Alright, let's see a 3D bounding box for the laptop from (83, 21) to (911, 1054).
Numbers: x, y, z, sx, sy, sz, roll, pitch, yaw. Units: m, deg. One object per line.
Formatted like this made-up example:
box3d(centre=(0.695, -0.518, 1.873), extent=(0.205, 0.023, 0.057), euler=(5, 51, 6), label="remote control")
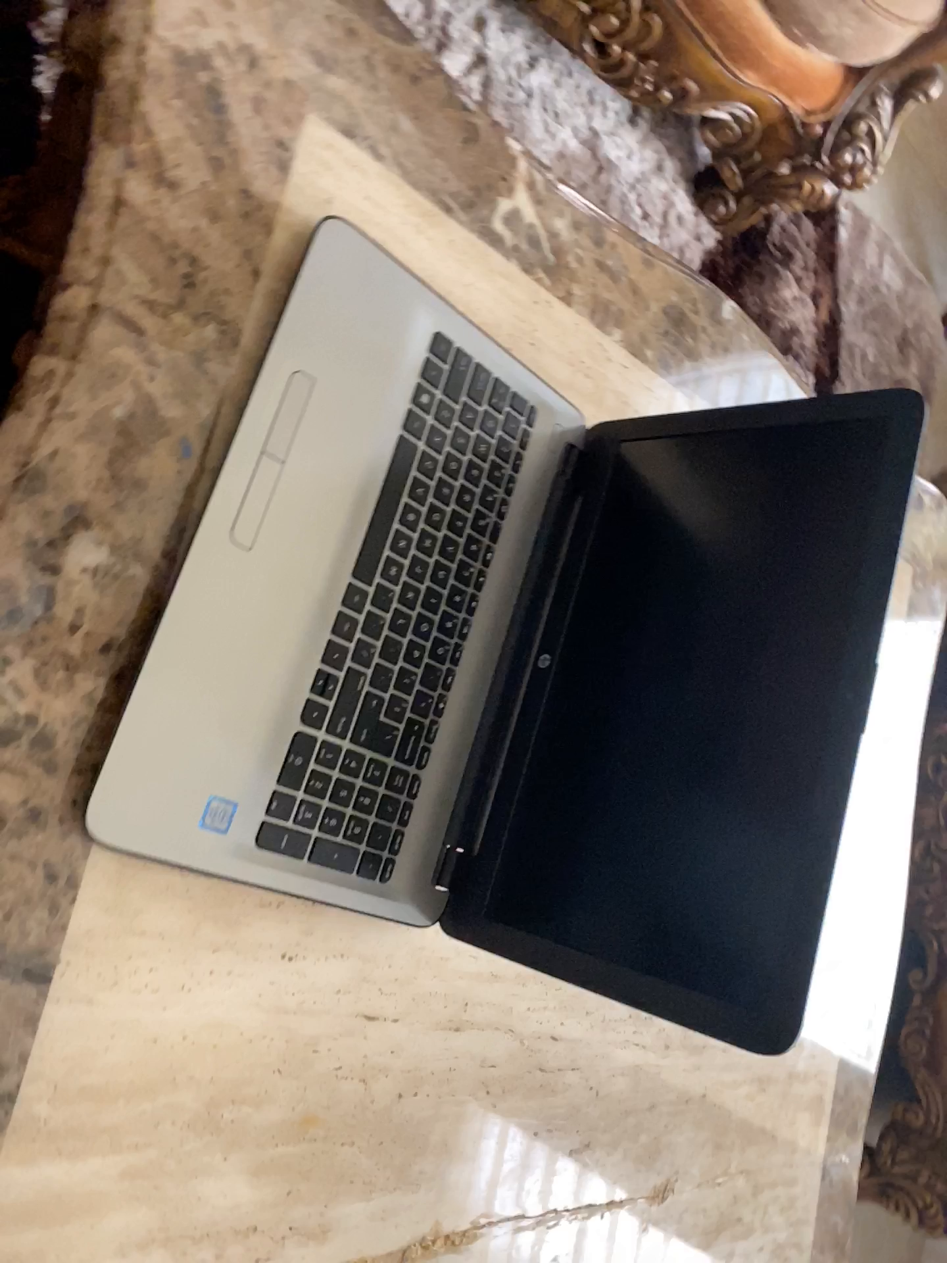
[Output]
box3d(centre=(0.029, -0.020, 0.512), extent=(0.266, 0.240, 0.371), euler=(29, 72, -40), label="laptop")
